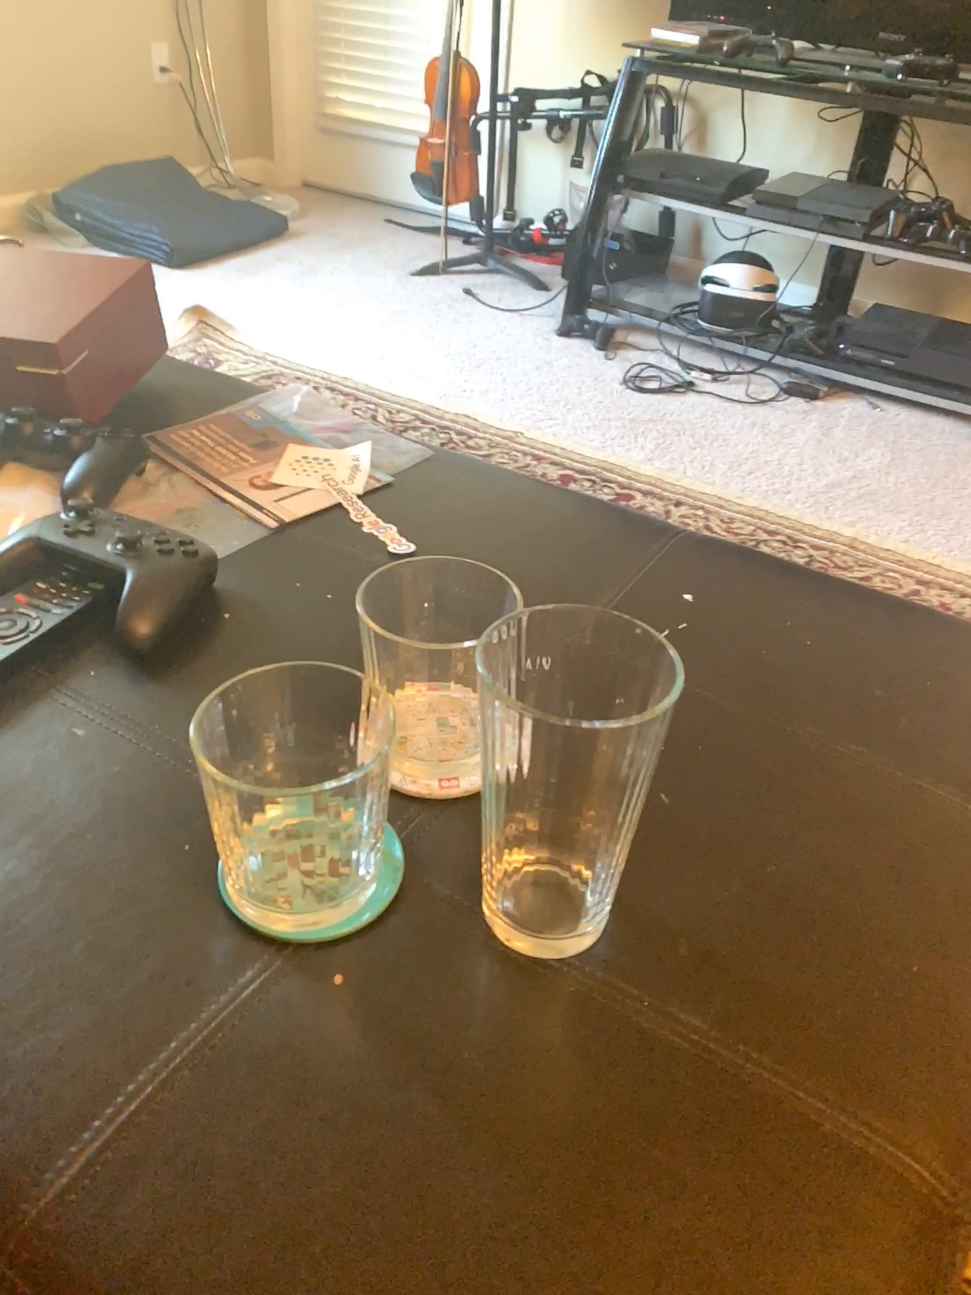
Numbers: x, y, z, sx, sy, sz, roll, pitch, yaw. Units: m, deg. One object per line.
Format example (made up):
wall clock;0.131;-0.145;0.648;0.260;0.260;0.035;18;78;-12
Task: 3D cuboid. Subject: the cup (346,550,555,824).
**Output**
cup;-0.024;0.021;0.579;0.080;0.109;0.090;-18;42;-28

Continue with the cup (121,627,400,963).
cup;-0.105;0.065;0.469;0.090;0.089;0.100;-18;42;-28

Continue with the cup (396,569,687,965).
cup;0.019;0.053;0.454;0.090;0.139;0.080;-18;42;-28
